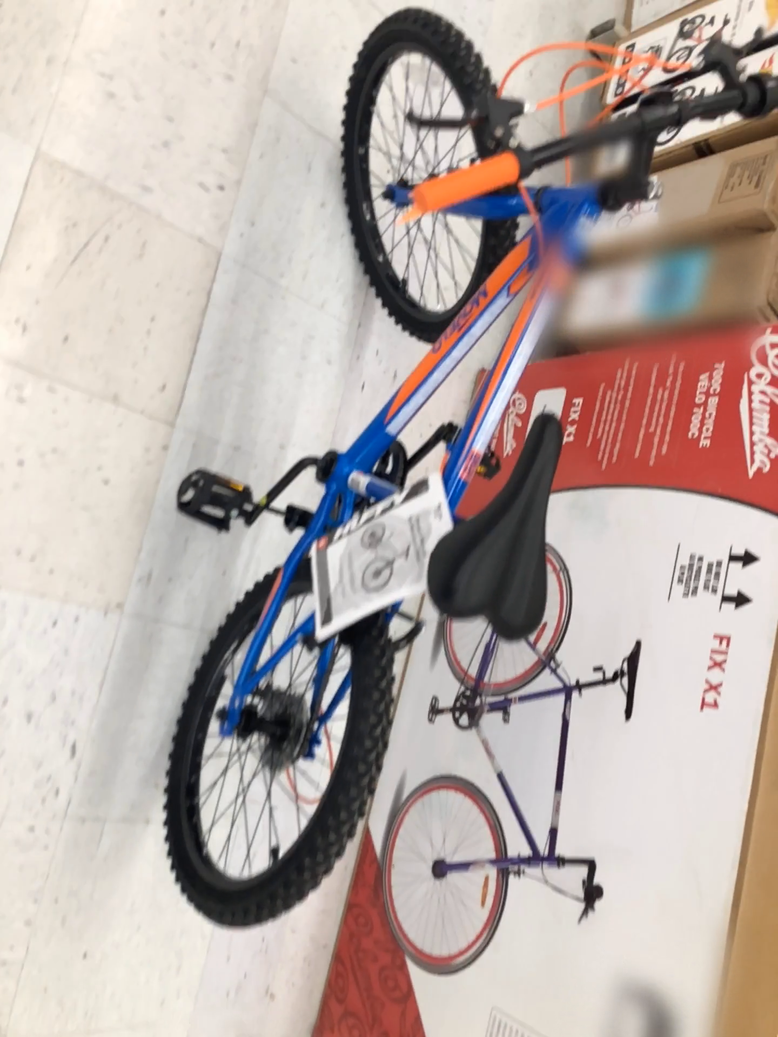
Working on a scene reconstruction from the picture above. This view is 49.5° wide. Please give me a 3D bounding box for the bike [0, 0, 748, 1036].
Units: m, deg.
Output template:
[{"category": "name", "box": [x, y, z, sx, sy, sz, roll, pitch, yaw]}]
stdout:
[{"category": "bike", "box": [-0.069, -0.163, 1.160, 0.586, 0.869, 1.315, 21, 72, -40]}]
